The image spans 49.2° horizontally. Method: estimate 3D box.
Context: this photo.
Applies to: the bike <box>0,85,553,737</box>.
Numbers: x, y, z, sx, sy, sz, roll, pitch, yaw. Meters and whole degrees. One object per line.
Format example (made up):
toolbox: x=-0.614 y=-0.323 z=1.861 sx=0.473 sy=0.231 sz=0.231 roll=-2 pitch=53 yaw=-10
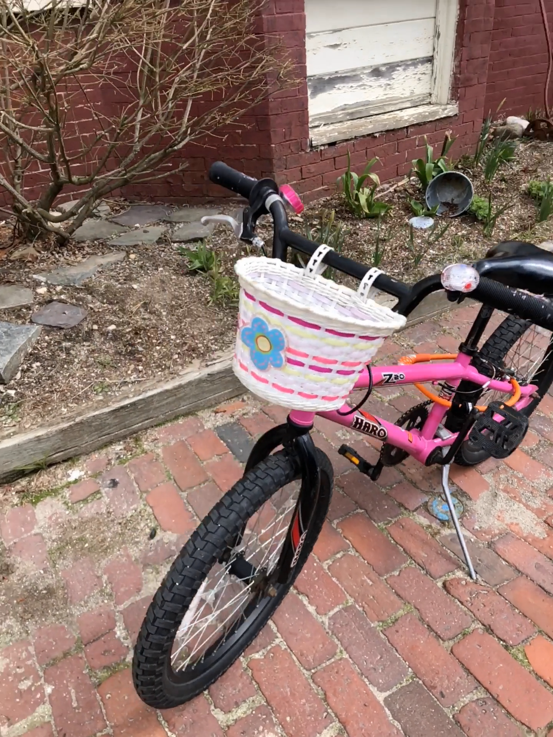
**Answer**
bike: x=0.369 y=0.043 z=1.076 sx=1.342 sy=0.907 sz=0.712 roll=-26 pitch=37 yaw=-36
